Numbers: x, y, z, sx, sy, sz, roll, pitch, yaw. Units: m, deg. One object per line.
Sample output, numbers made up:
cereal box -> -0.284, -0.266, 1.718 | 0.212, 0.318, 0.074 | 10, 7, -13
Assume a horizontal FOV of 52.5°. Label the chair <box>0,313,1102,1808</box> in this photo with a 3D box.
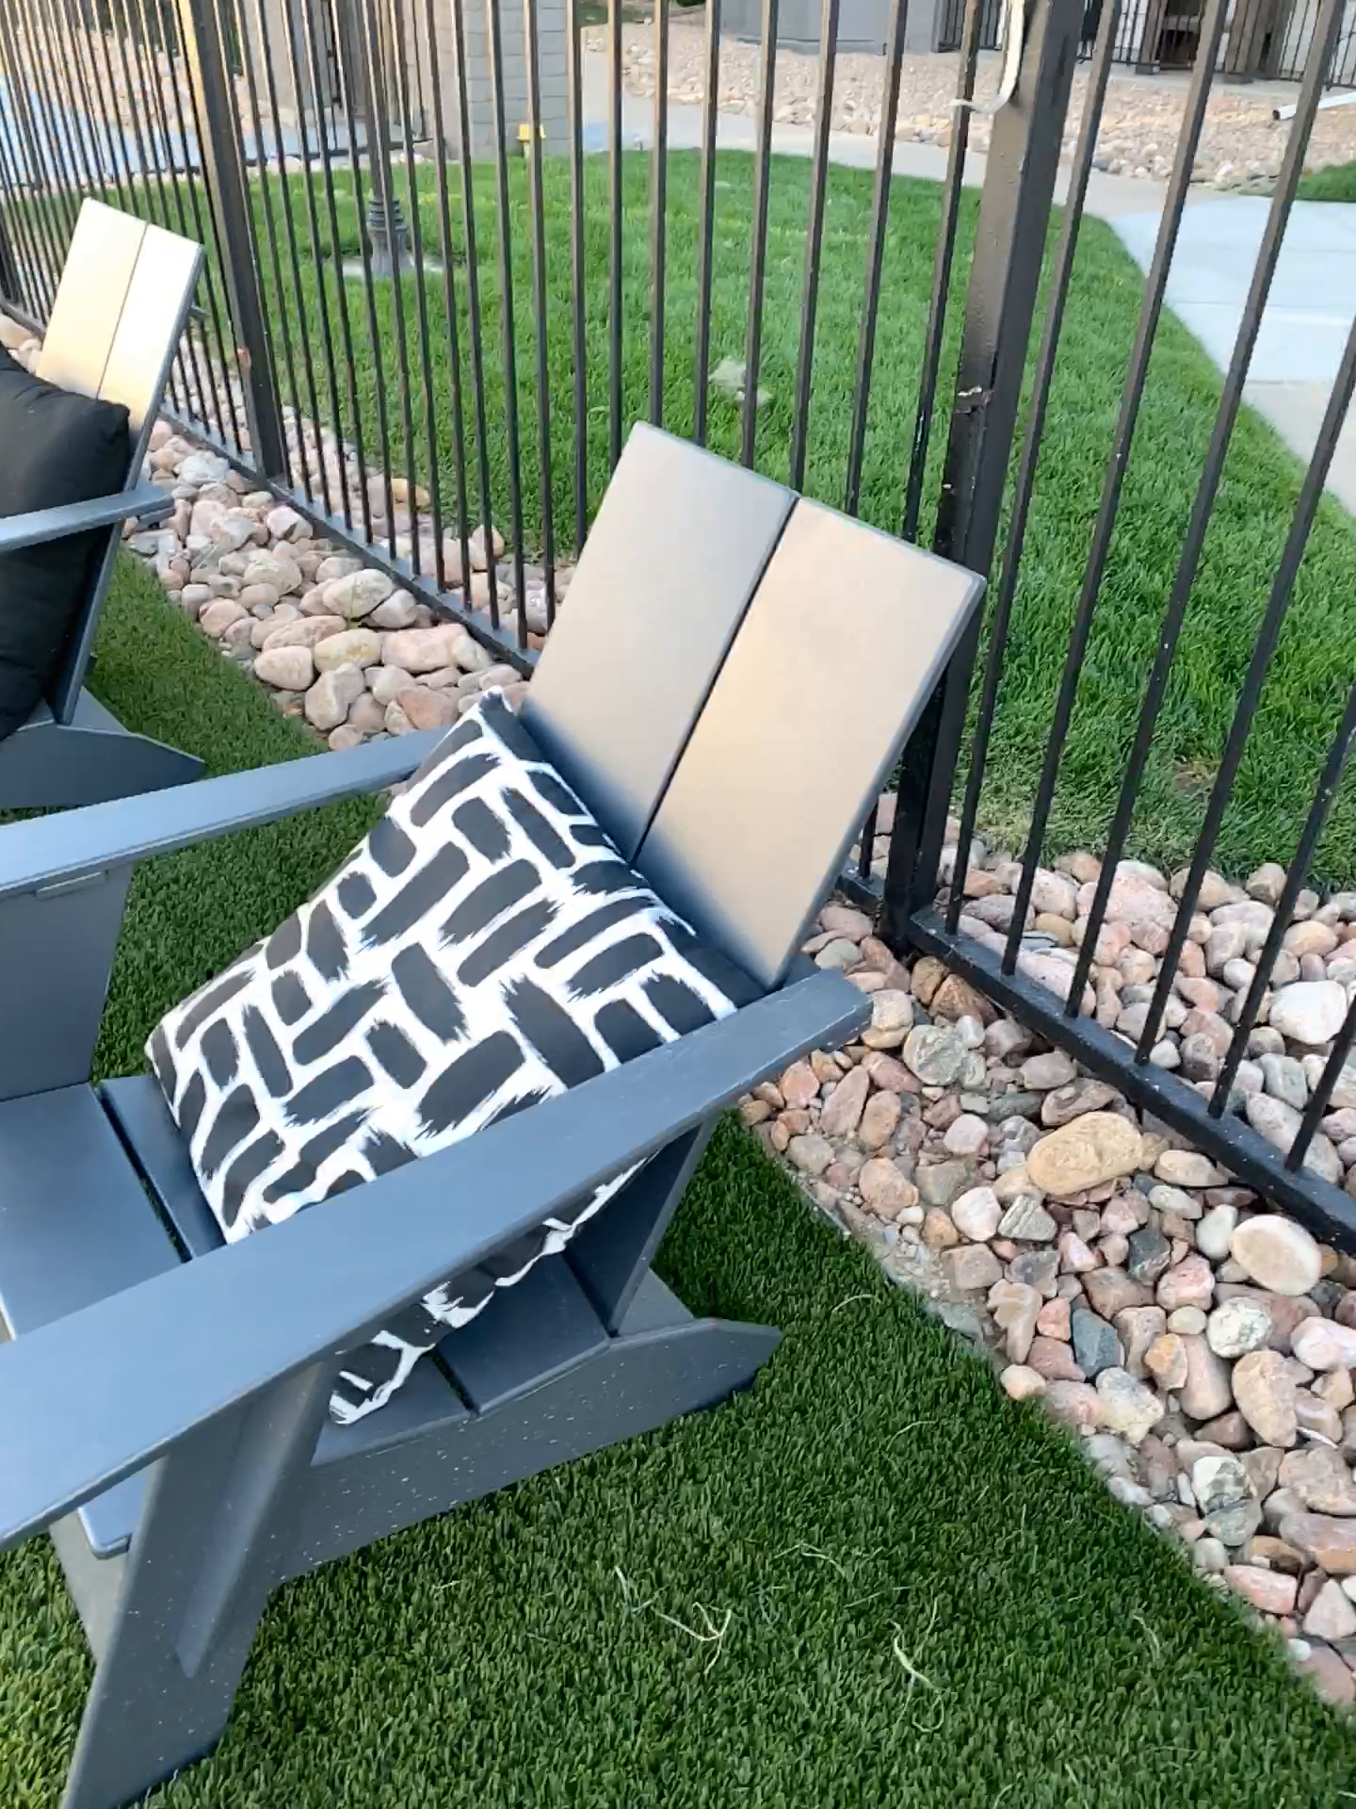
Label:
chair -> -0.272, 0.069, 1.120 | 0.881, 0.806, 0.623 | -21, 42, -27
